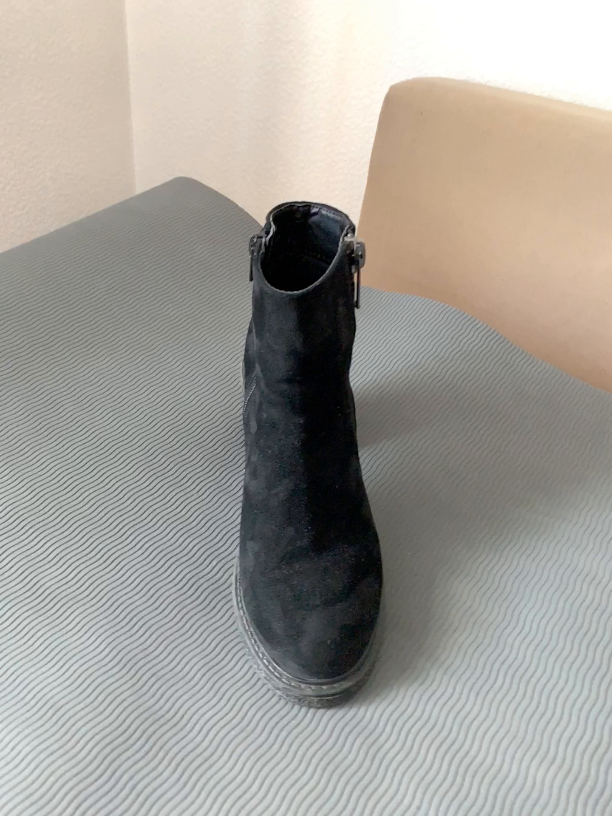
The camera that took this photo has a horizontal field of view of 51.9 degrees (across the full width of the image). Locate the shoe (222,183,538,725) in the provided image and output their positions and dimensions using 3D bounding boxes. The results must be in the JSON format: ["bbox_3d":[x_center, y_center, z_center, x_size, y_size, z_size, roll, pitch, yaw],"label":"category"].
[{"bbox_3d":[0.006,0.007,0.349,0.098,0.179,0.241,1,37,-9],"label":"shoe"}]
